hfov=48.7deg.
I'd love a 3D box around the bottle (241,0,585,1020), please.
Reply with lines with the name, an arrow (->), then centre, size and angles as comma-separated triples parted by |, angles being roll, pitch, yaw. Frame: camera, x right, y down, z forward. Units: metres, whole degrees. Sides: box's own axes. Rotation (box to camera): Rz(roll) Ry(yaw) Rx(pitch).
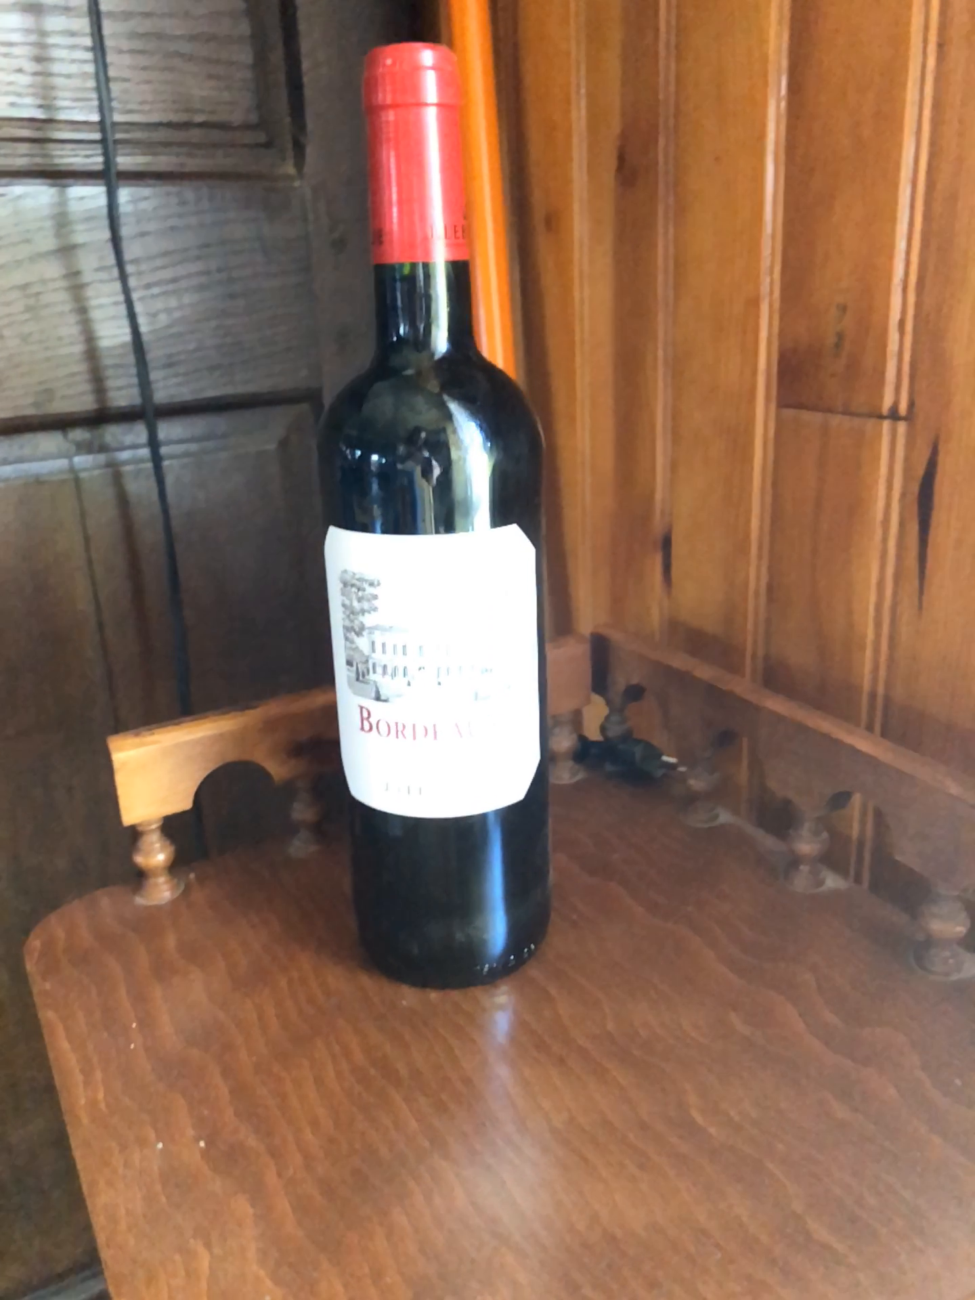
bottle -> -0.012, -0.034, 0.362 | 0.080, 0.309, 0.080 | -2, 20, 1
